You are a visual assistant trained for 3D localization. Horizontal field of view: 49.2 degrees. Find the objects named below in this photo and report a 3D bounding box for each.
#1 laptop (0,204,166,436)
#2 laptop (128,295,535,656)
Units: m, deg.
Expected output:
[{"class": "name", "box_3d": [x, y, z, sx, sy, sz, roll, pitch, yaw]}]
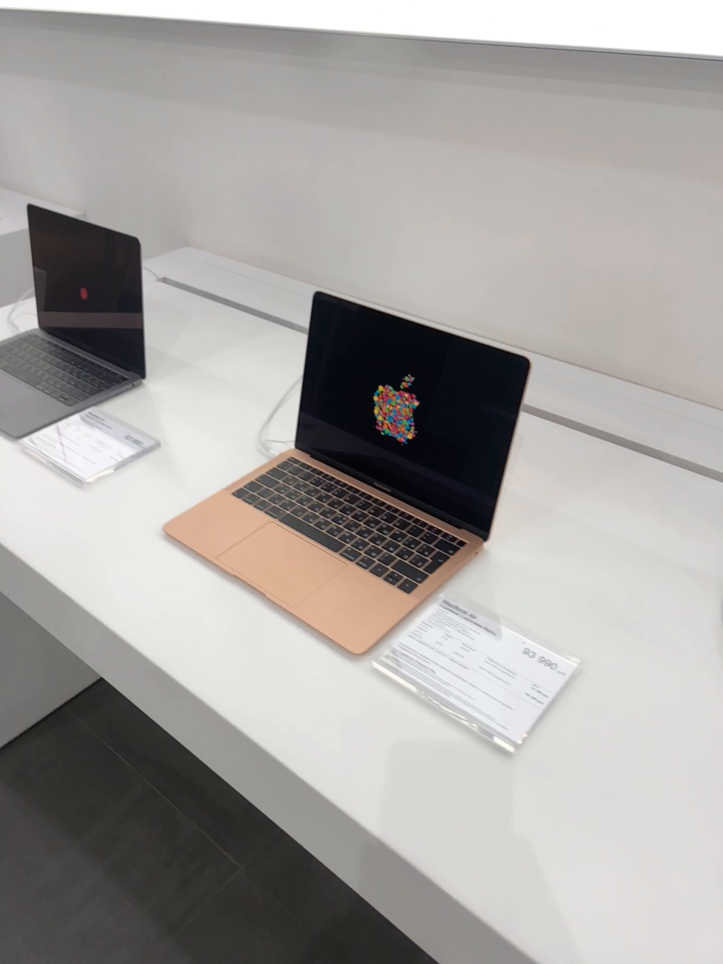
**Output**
[{"class": "laptop", "box_3d": [-0.501, -0.253, 1.169, 0.294, 0.204, 0.249, 26, 44, 35]}, {"class": "laptop", "box_3d": [-0.029, -0.032, 0.829, 0.298, 0.188, 0.264, 26, 44, 34]}]
